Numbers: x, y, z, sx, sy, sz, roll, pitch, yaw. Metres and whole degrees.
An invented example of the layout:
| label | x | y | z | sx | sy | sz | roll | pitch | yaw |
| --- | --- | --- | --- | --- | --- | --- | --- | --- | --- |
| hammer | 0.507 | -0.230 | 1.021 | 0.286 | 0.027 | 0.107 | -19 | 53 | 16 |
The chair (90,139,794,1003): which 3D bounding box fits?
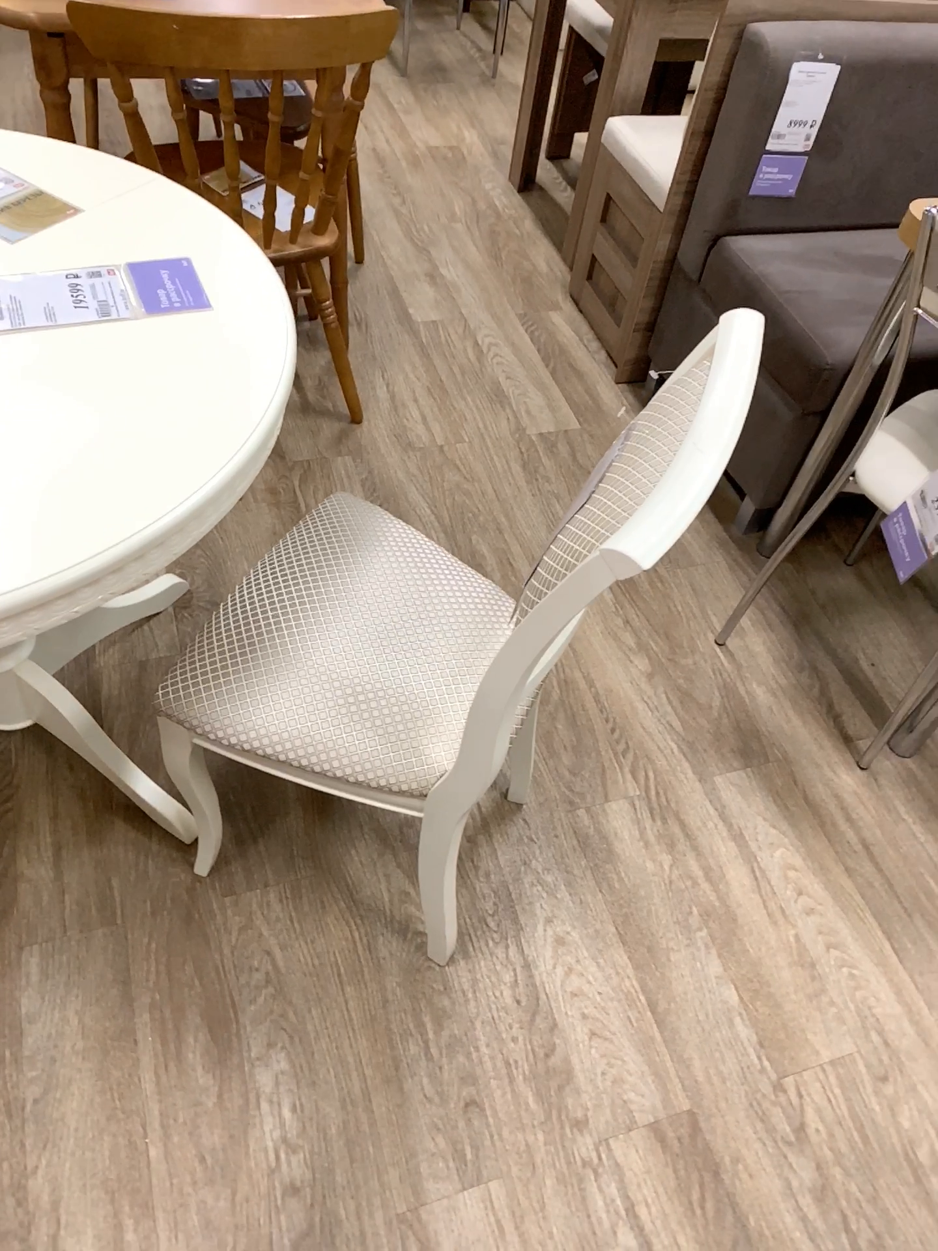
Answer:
| label | x | y | z | sx | sy | sz | roll | pitch | yaw |
| --- | --- | --- | --- | --- | --- | --- | --- | --- | --- |
| chair | -0.041 | 0.003 | 1.211 | 0.510 | 0.906 | 0.462 | 20 | 50 | 7 |
